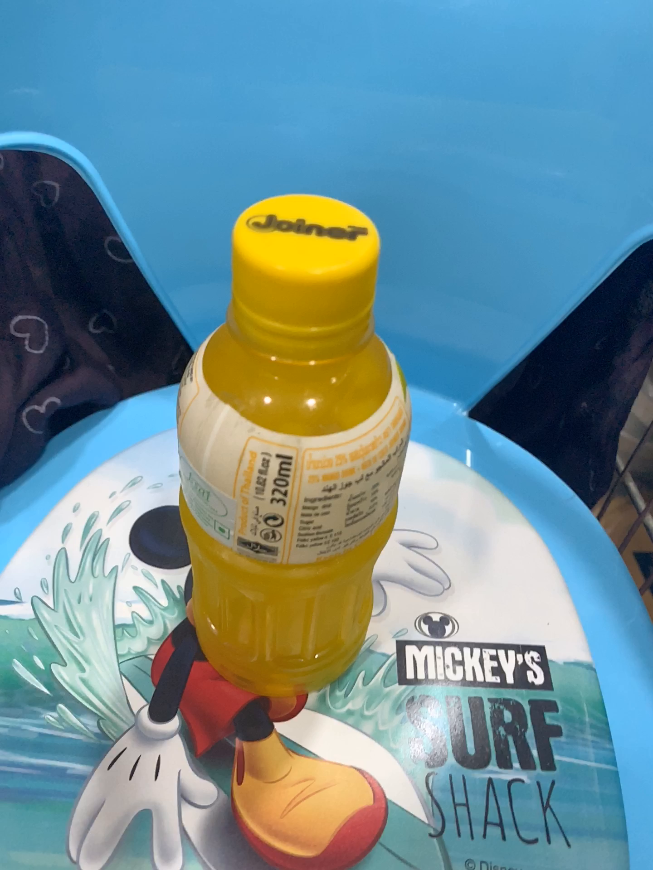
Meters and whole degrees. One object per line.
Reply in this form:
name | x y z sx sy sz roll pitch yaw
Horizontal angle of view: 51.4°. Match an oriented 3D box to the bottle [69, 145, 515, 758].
bottle | -0.010 0.012 0.176 0.060 0.139 0.060 3 43 -3
